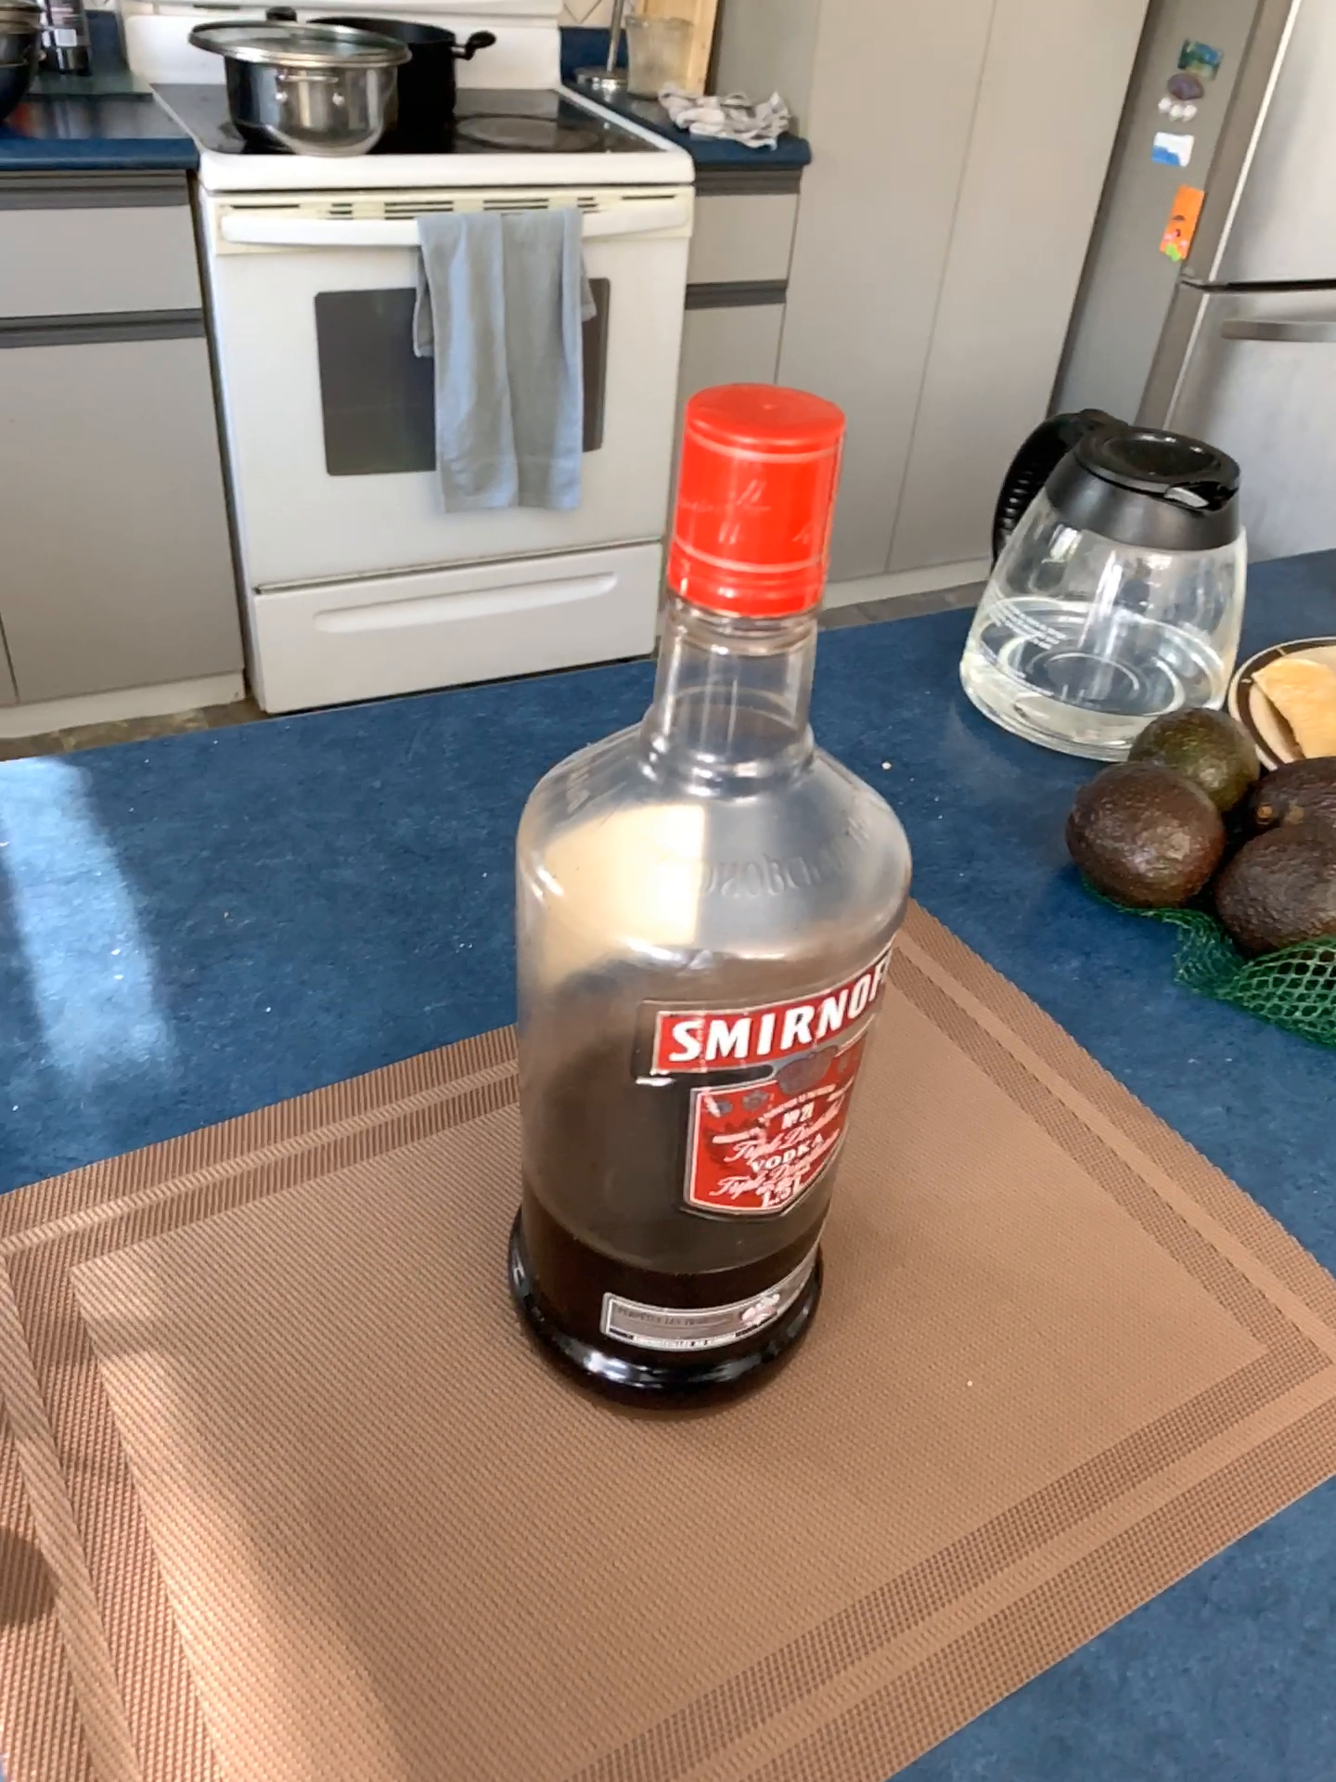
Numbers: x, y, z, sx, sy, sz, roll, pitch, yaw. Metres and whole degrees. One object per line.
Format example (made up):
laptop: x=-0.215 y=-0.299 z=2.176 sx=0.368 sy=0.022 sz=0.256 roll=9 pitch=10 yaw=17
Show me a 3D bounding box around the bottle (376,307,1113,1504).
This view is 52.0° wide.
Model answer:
bottle: x=0.002 y=0.018 z=0.393 sx=0.120 sy=0.317 sz=0.111 roll=4 pitch=37 yaw=-3
